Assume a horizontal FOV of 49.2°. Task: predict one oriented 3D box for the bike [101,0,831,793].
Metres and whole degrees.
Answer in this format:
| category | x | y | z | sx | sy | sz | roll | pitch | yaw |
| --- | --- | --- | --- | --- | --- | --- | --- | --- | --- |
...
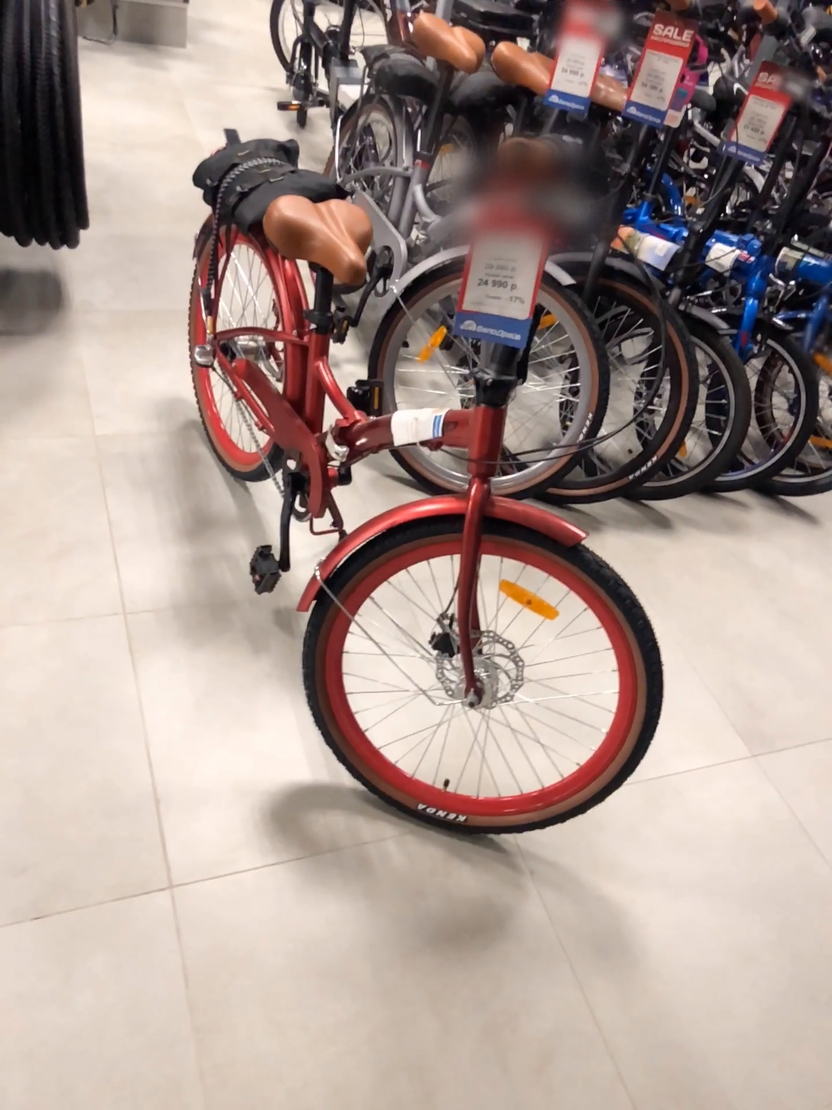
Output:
| category | x | y | z | sx | sy | sz | roll | pitch | yaw |
| --- | --- | --- | --- | --- | --- | --- | --- | --- | --- |
| bike | -0.012 | -0.469 | 1.747 | 0.518 | 1.111 | 1.496 | -20 | 48 | -35 |
